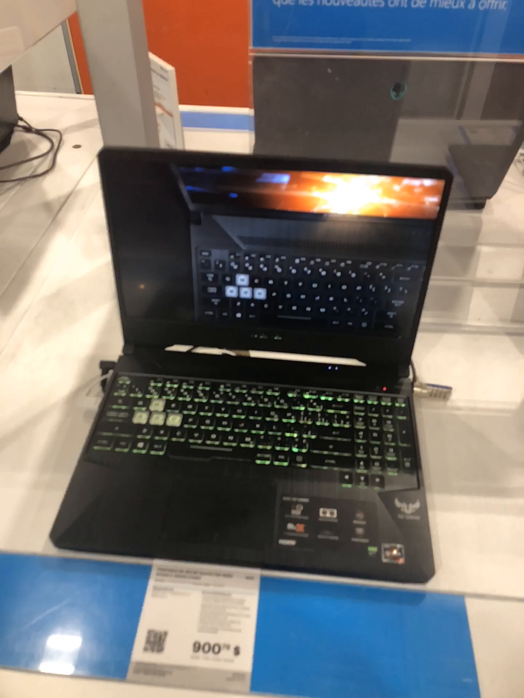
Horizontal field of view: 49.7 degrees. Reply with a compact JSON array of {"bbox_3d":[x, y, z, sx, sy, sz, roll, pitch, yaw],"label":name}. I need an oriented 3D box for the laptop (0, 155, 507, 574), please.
[{"bbox_3d":[-0.005,0.002,0.547,0.350,0.235,0.302,4,44,4],"label":"laptop"}]
